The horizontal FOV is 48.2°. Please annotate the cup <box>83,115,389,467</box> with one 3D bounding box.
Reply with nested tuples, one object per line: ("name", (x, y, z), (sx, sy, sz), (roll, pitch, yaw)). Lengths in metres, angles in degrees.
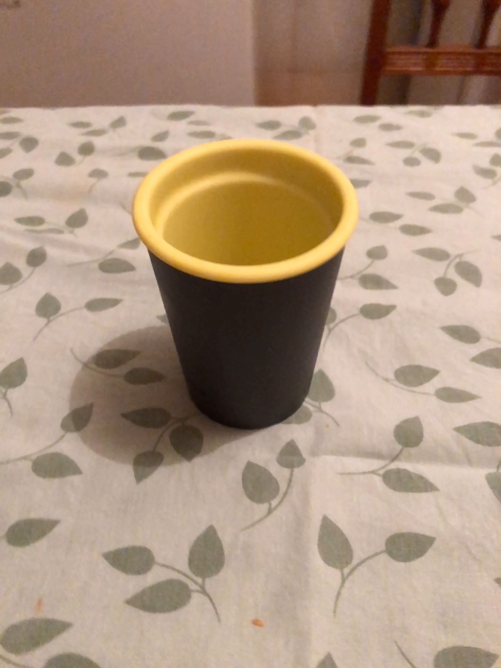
("cup", (0.000, -0.019, 0.254), (0.090, 0.109, 0.091), (0, 48, 0))
